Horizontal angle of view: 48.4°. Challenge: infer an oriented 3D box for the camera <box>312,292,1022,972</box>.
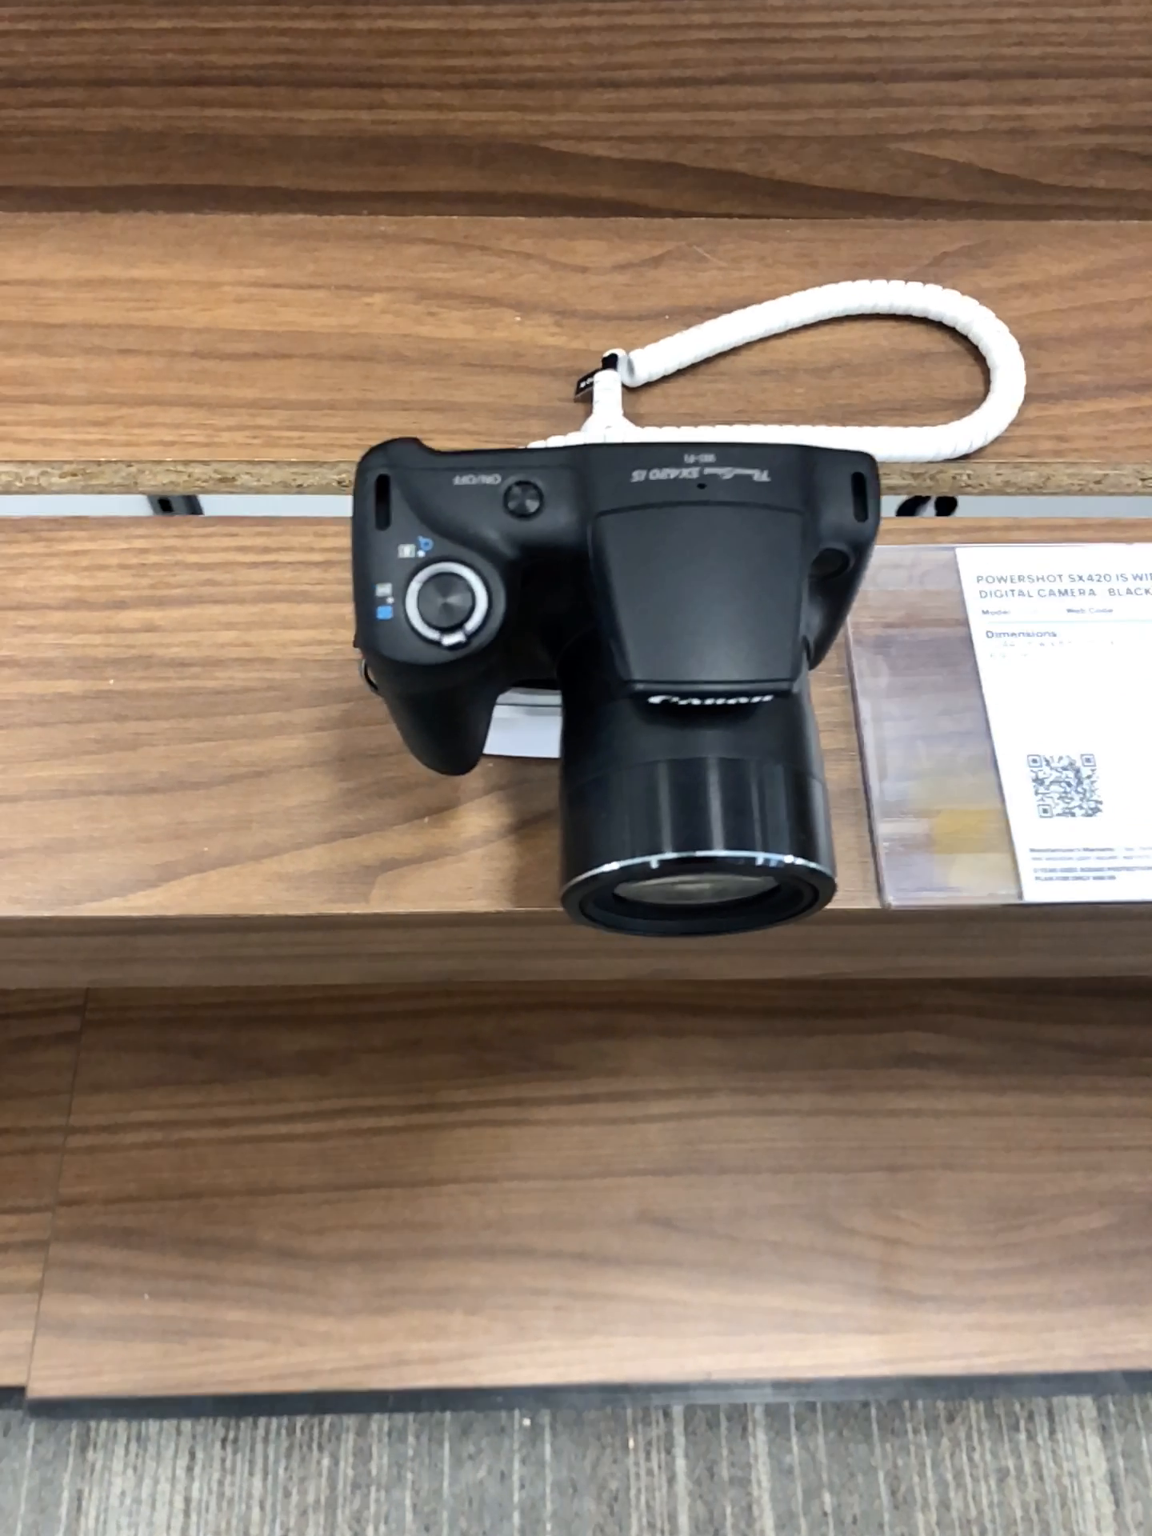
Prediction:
[{"bbox_3d":[0.010,-0.026,0.253,0.110,0.070,0.110,-2,63,-3],"label":"camera"}]
